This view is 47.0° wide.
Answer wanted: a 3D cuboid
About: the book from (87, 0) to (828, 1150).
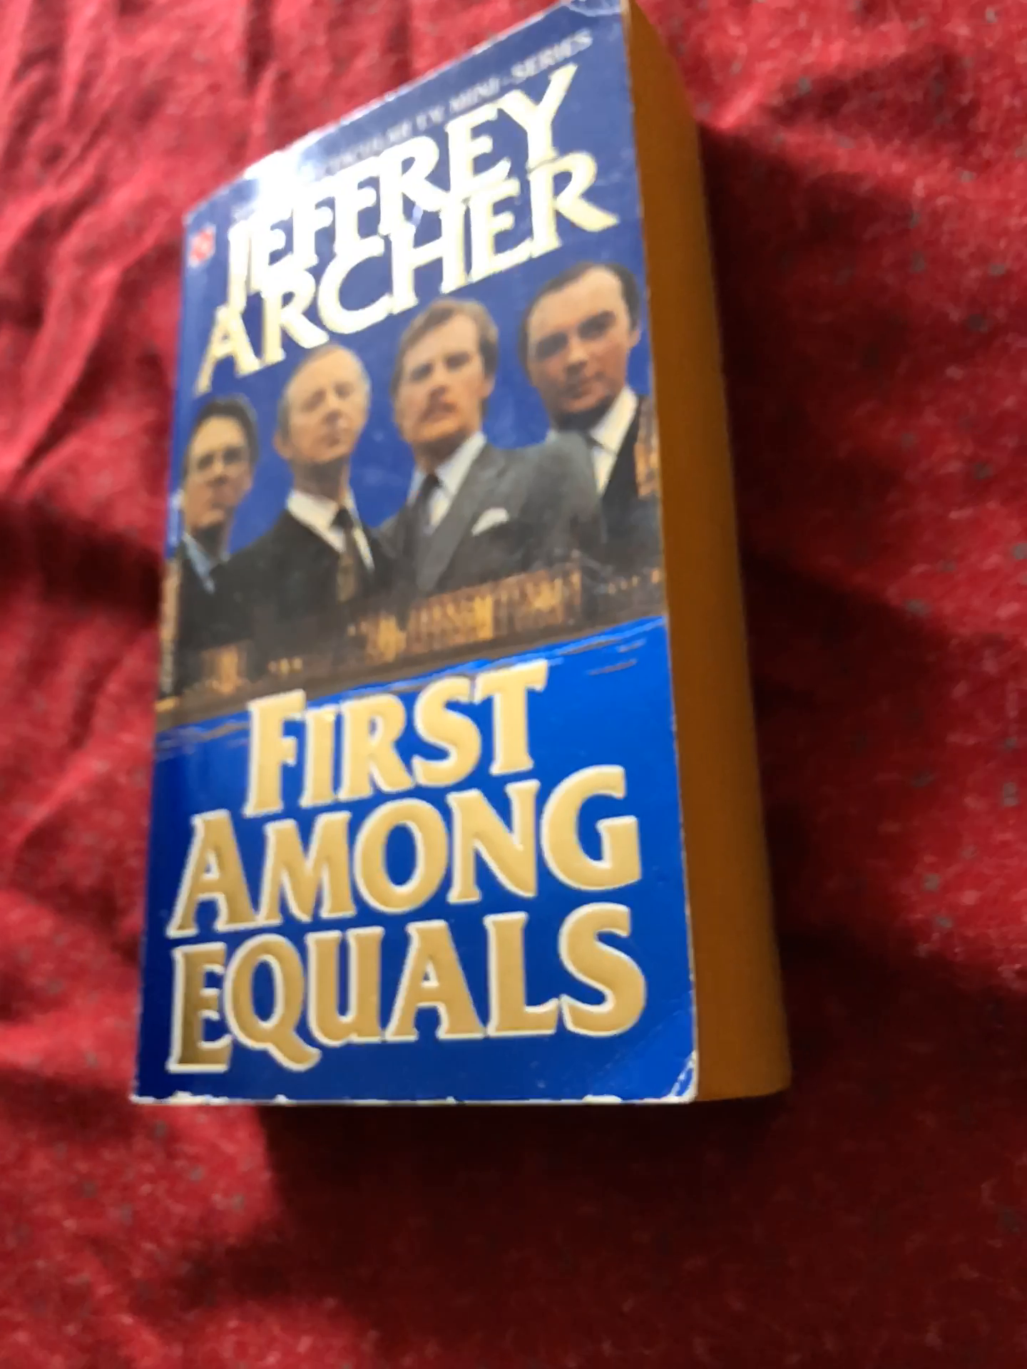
[{"bbox_3d":[-0.015,-0.016,0.205,0.110,0.038,0.177,-12,71,29],"label":"book"}]
